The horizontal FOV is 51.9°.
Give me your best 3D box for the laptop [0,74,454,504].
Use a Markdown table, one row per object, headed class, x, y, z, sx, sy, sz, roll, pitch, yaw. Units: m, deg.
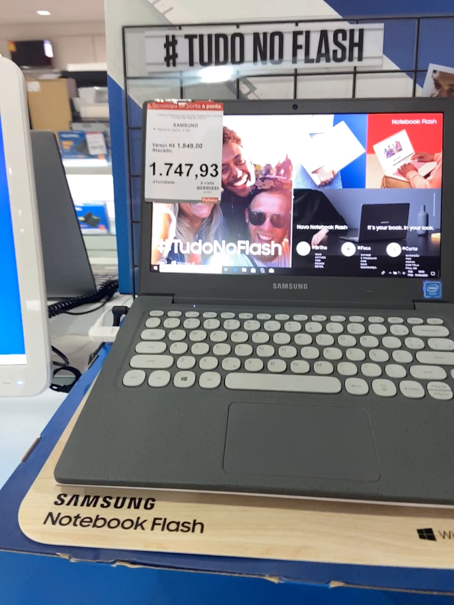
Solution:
| class | x | y | z | sx | sy | sz | roll | pitch | yaw |
| --- | --- | --- | --- | --- | --- | --- | --- | --- | --- |
| laptop | 0.058 | -0.063 | 0.398 | 0.322 | 0.181 | 0.346 | 1 | 31 | 5 |
